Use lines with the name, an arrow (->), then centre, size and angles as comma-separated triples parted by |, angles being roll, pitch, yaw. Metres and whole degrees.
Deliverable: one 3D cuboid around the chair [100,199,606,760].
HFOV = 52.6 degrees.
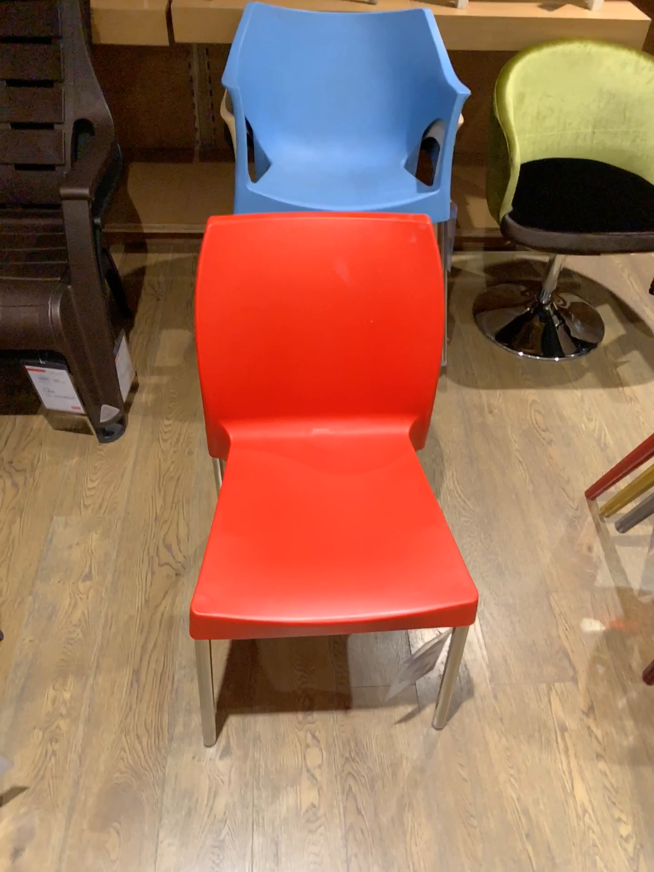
chair -> -0.006, 0.104, 1.161 | 0.520, 0.787, 0.592 | -3, 47, -5
